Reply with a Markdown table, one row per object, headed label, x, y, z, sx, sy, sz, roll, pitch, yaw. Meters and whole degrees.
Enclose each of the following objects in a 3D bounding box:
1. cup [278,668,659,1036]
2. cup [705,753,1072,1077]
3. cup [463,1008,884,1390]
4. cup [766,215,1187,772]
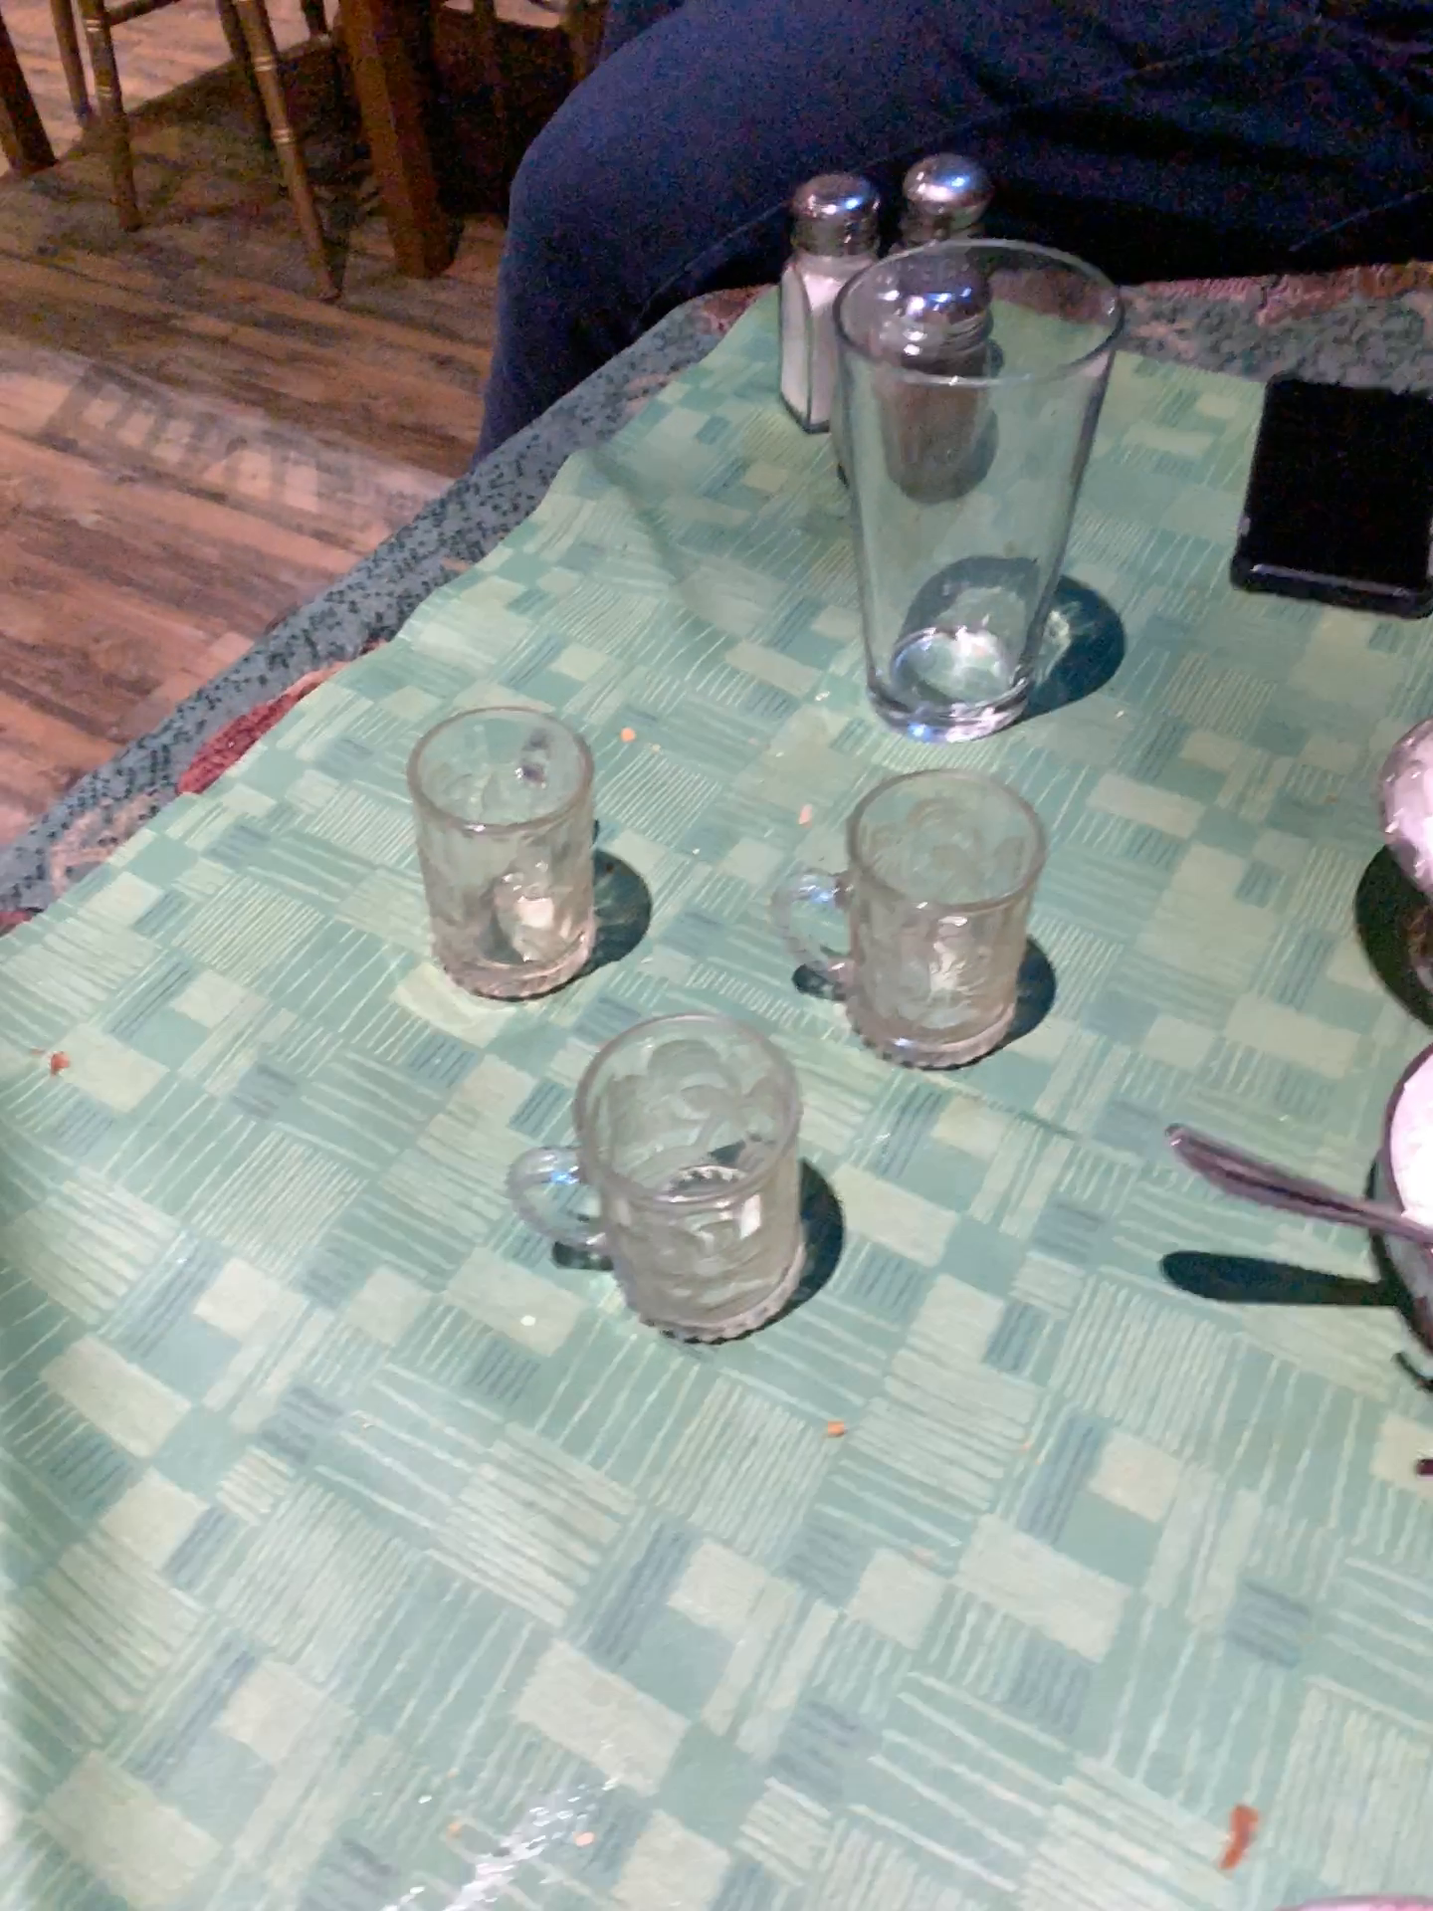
| label | x | y | z | sx | sy | sz | roll | pitch | yaw |
| --- | --- | --- | --- | --- | --- | --- | --- | --- | --- |
| cup | -0.069 | -0.032 | 0.430 | 0.070 | 0.050 | 0.080 | 19 | 54 | 19 |
| cup | 0.044 | -0.011 | 0.409 | 0.090 | 0.060 | 0.060 | -3 | 49 | 2 |
| cup | -0.006 | 0.060 | 0.365 | 0.090 | 0.070 | 0.060 | 3 | 50 | 7 |
| cup | 0.087 | -0.158 | 0.505 | 0.100 | 0.129 | 0.110 | 17 | 53 | 18 |
